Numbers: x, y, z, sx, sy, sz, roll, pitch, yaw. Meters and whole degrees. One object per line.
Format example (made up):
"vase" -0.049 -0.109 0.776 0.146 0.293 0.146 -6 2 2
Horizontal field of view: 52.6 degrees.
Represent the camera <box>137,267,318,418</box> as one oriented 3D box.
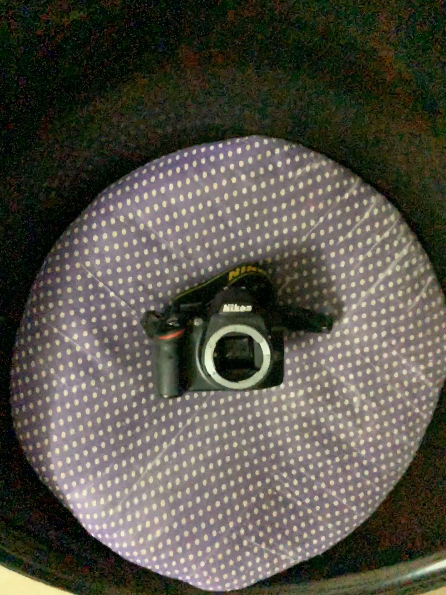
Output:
"camera" 0.004 0.034 0.402 0.140 0.080 0.110 -4 98 -2
